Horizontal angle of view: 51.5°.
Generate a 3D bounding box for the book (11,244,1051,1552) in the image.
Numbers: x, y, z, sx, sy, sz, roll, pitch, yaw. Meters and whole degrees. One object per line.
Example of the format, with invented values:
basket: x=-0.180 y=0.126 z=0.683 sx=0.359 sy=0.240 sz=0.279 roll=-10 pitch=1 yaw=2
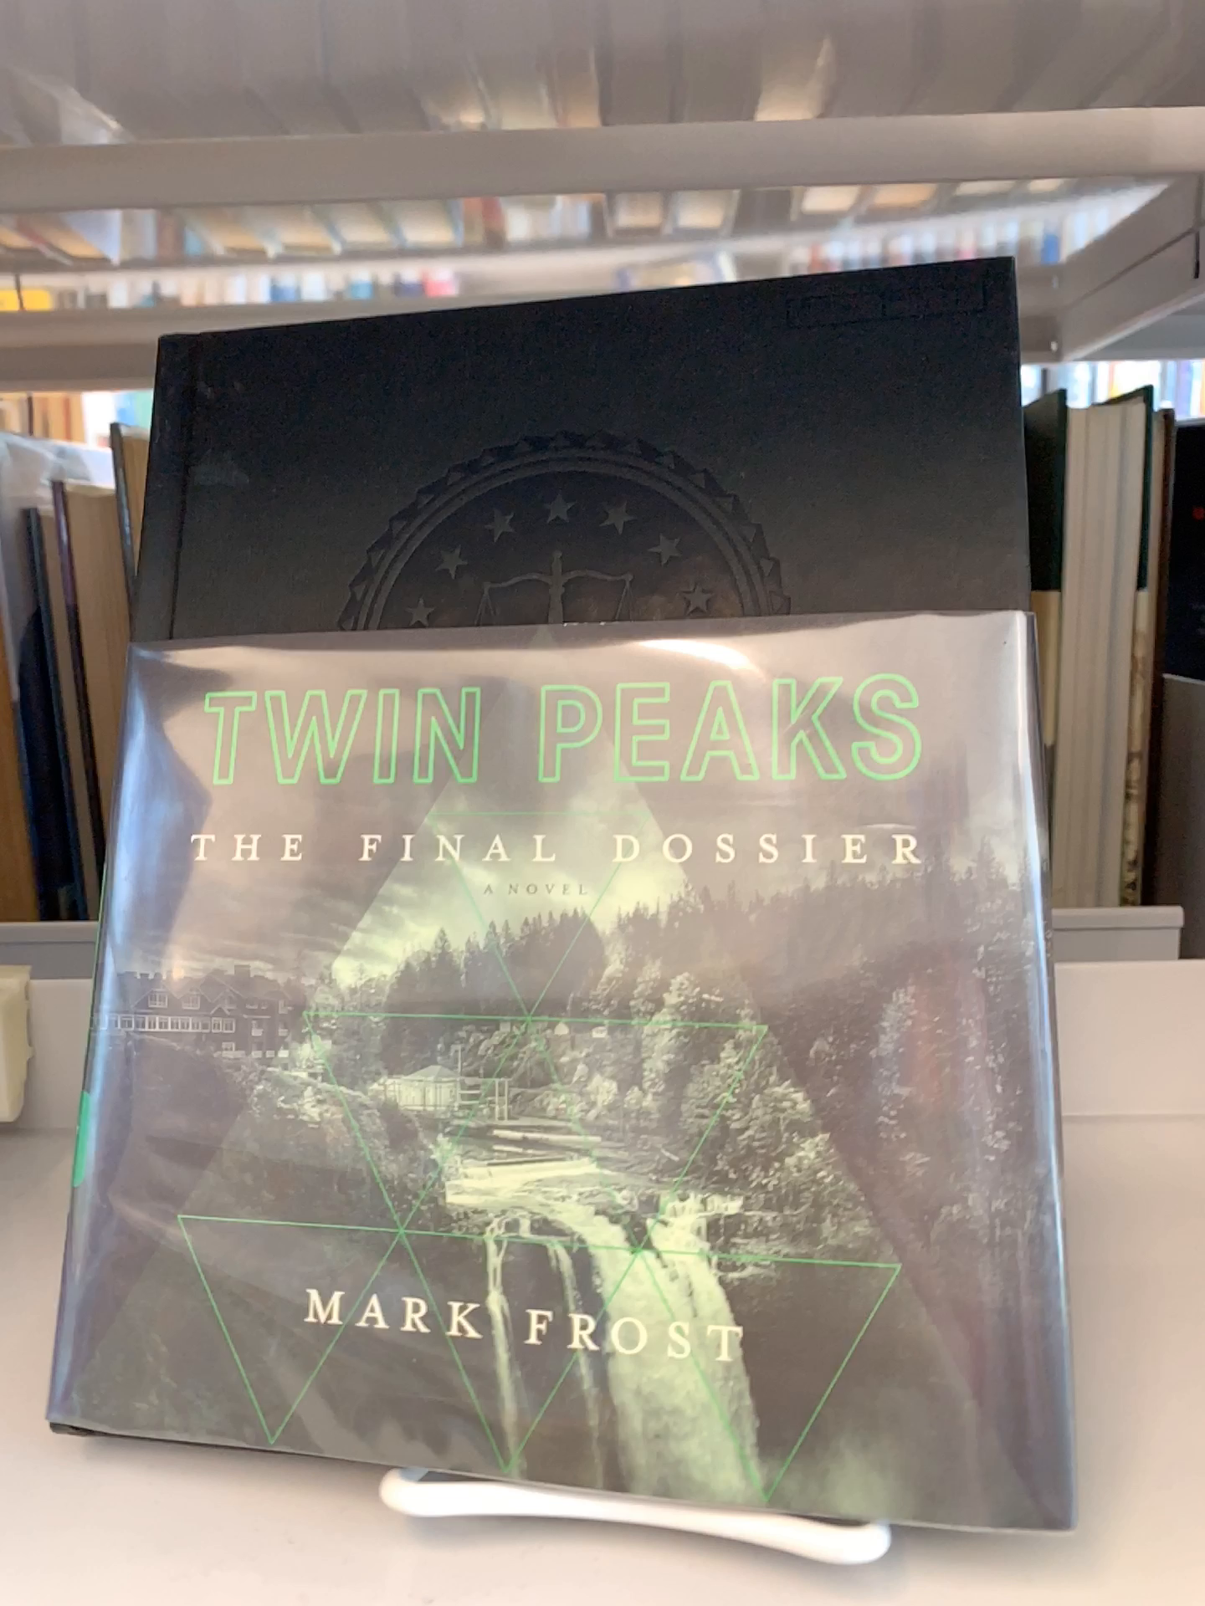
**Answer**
book: x=-0.015 y=0.009 z=0.248 sx=0.190 sy=0.228 sz=0.020 roll=0 pitch=-9 yaw=12
